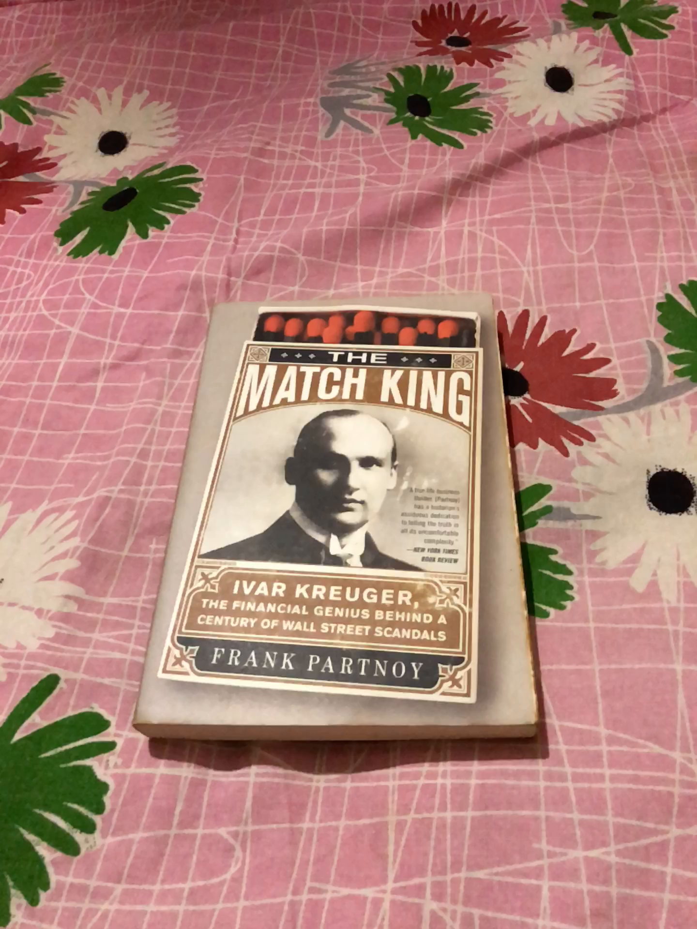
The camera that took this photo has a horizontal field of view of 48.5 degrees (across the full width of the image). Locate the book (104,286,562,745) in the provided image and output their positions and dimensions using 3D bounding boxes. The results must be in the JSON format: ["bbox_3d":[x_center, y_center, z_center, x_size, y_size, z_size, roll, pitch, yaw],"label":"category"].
[{"bbox_3d":[-0.003,0.005,0.359,0.160,0.030,0.241,-1,49,3],"label":"book"}]
